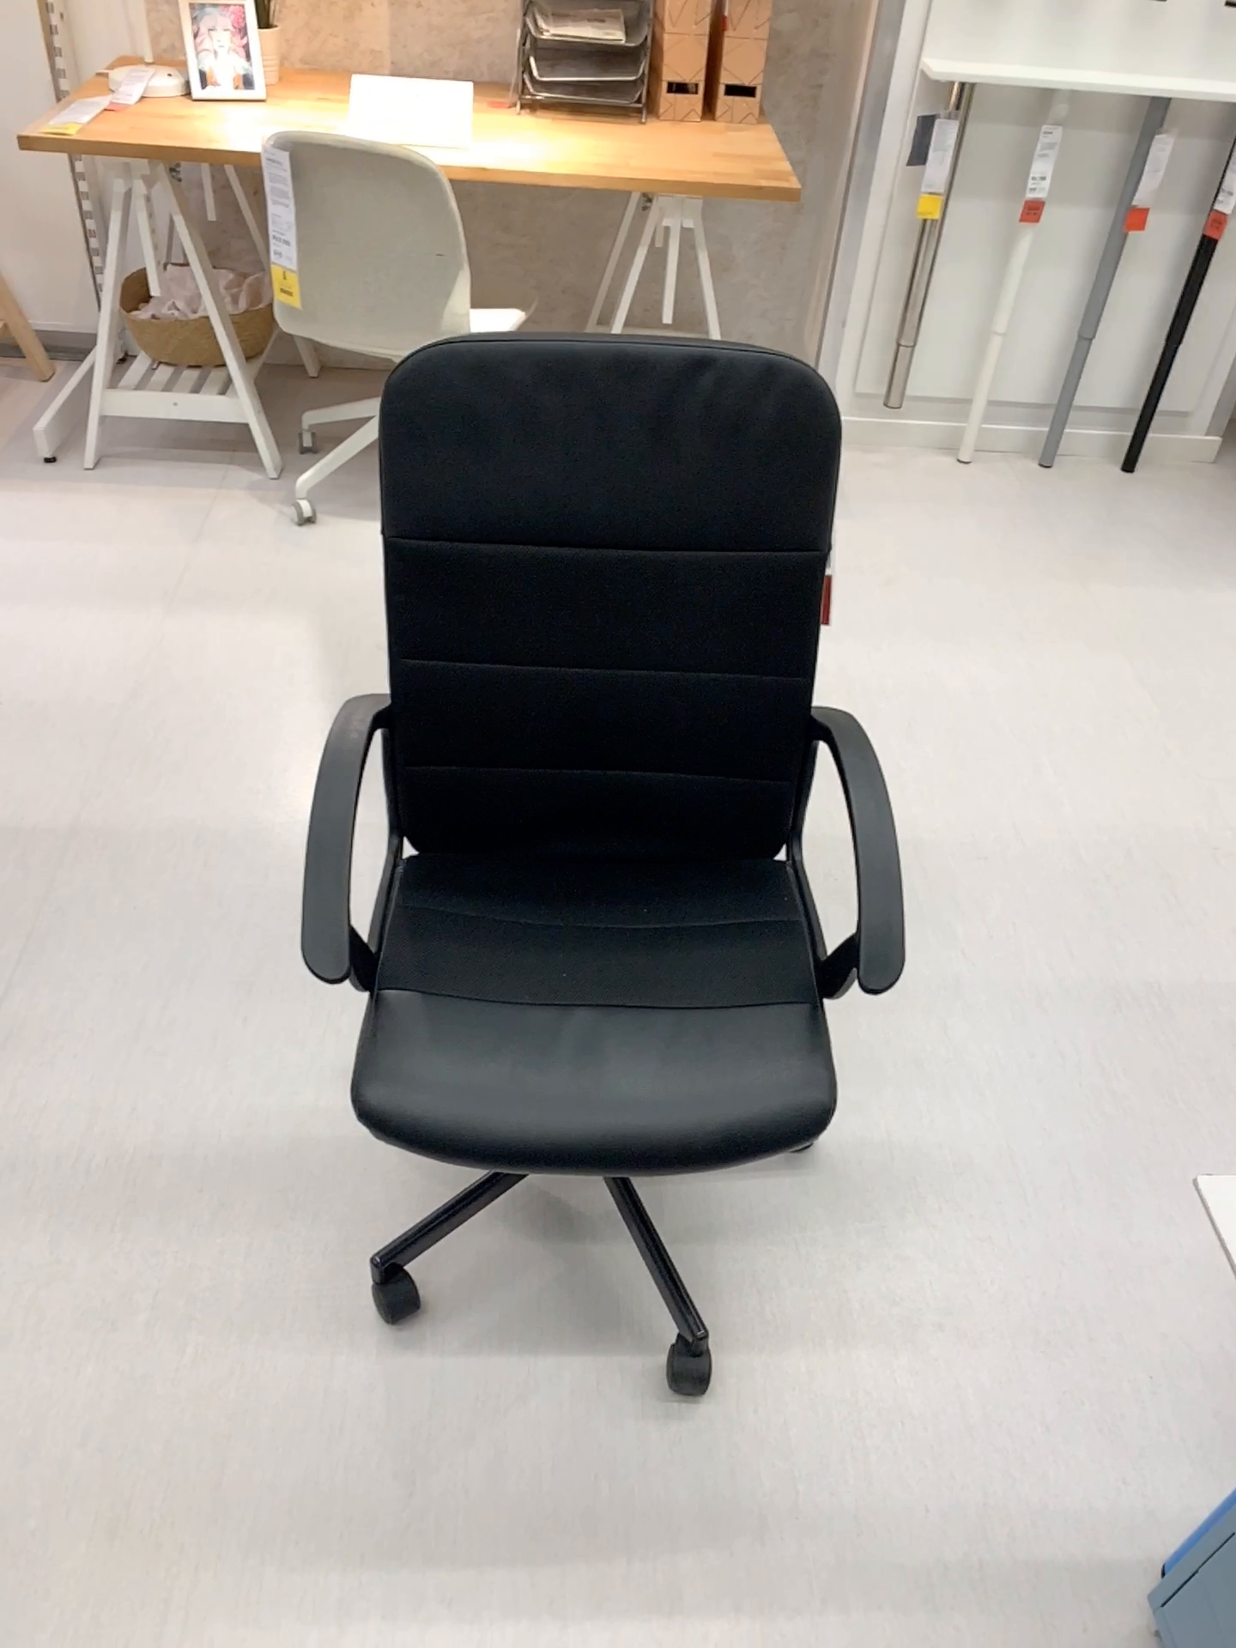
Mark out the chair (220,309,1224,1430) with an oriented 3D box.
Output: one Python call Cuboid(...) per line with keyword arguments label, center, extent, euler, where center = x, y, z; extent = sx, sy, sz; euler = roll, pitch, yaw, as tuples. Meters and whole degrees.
Cuboid(label="chair", center=(0.017, 0.094, 1.295), extent=(0.610, 0.996, 0.582), euler=(0, 41, -6))
